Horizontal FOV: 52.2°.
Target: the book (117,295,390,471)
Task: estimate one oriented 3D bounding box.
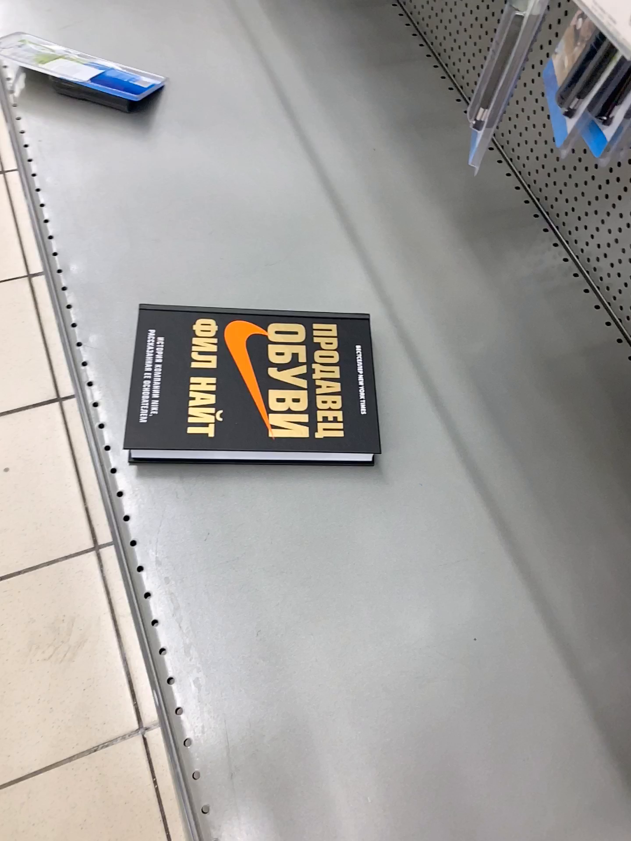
[{"bbox_3d":[-0.058,-0.038,0.651,0.250,0.042,0.170,2,63,-6],"label":"book"}]
